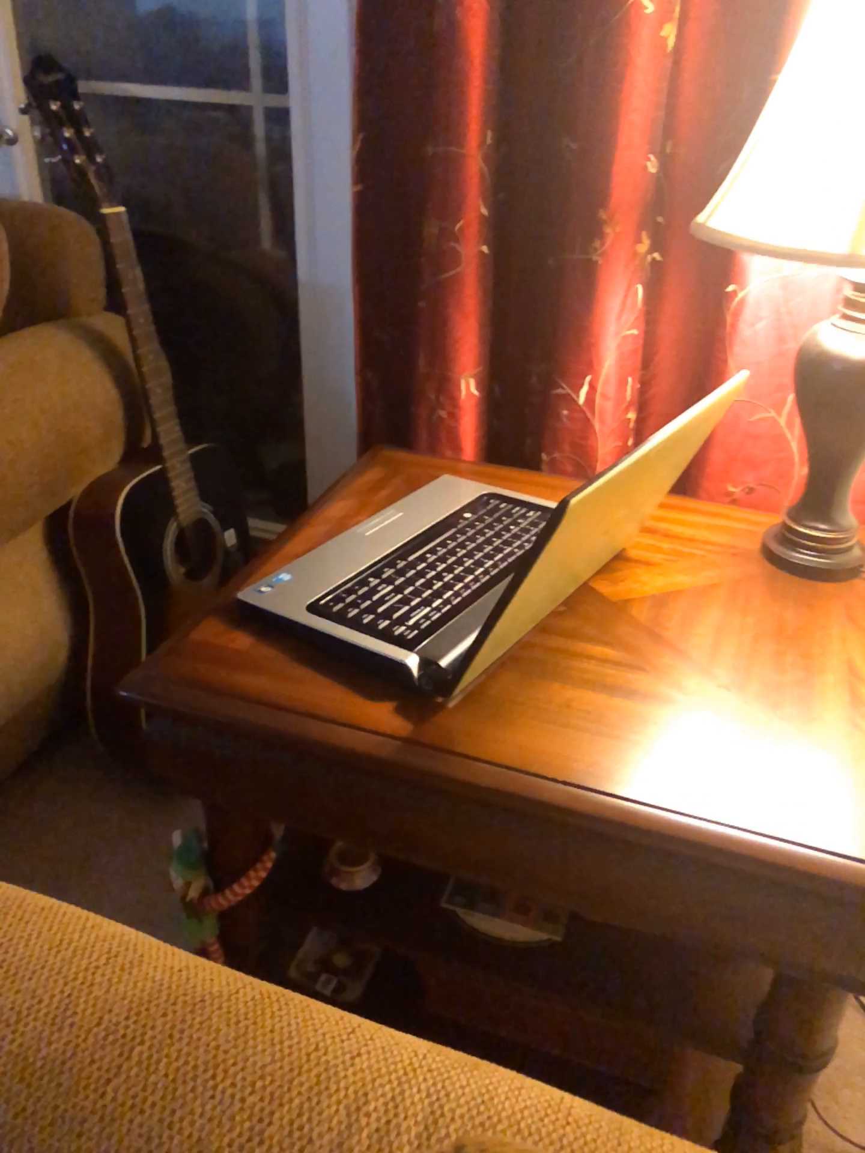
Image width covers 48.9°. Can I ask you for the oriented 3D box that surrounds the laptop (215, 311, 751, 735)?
[{"bbox_3d":[0.056,-0.088,0.929,0.351,0.204,0.363,21,36,29],"label":"laptop"}]
